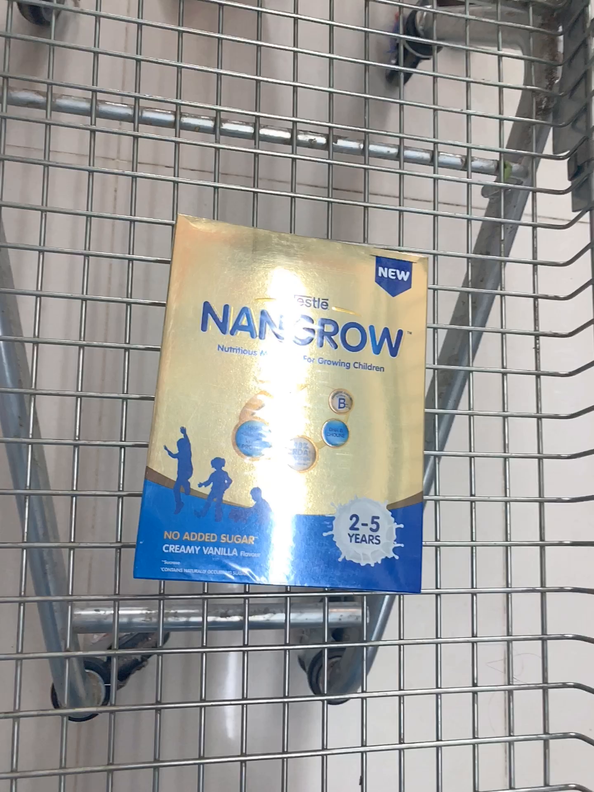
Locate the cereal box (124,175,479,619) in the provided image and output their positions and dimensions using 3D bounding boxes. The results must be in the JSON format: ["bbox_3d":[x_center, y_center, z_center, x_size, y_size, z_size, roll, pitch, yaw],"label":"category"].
[{"bbox_3d":[0.003,0.005,0.312,0.150,0.060,0.190,7,83,-12],"label":"cereal box"}]
